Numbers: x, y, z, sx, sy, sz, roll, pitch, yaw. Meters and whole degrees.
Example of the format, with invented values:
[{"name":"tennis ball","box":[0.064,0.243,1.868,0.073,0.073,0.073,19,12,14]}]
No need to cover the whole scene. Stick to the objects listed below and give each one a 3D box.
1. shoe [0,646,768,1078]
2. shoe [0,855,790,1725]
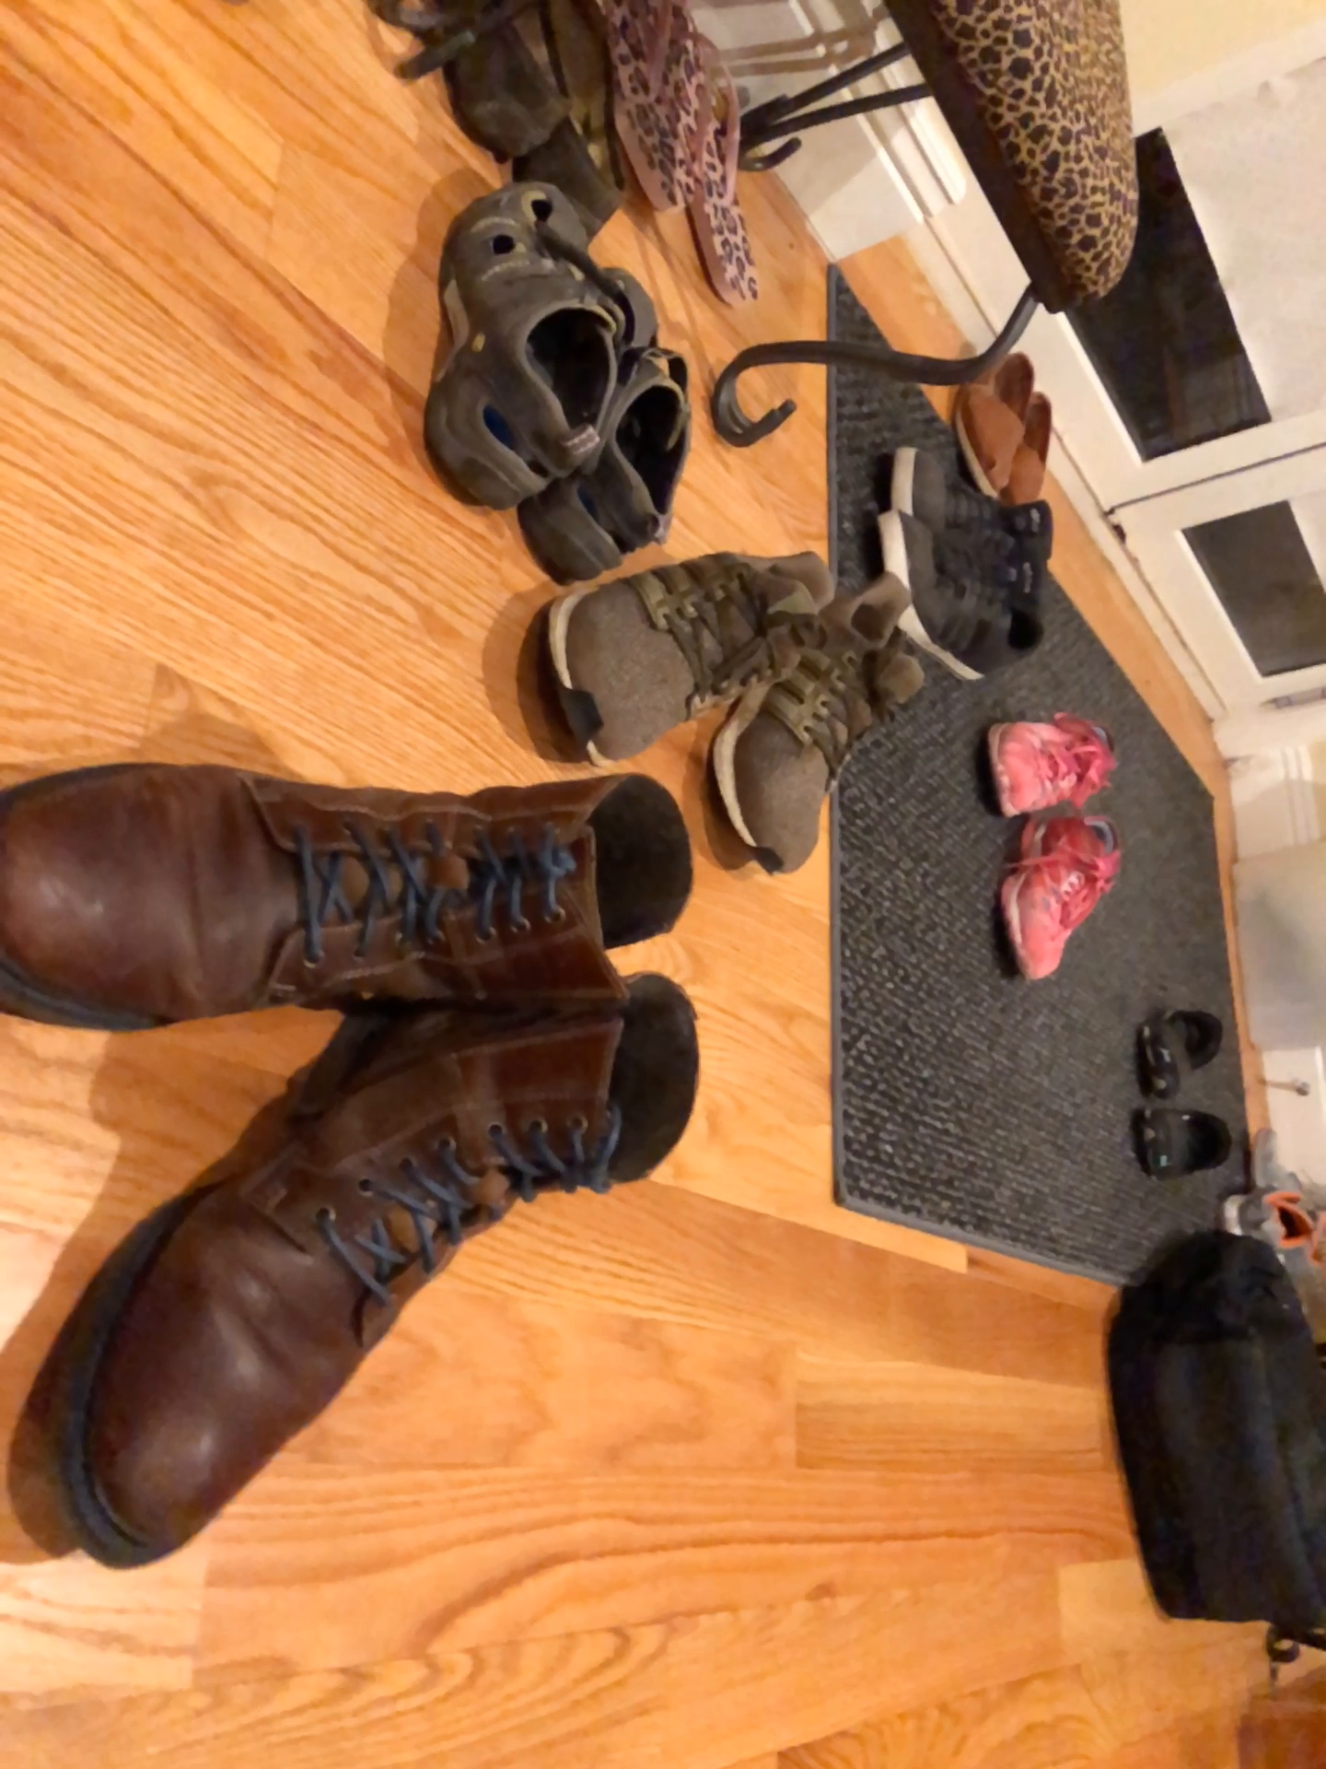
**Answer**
[{"name":"shoe","box":[-0.111,0.000,0.605,0.311,0.168,0.113,1,79,-58]},{"name":"shoe","box":[-0.093,0.142,0.592,0.128,0.176,0.305,62,35,-26]}]
